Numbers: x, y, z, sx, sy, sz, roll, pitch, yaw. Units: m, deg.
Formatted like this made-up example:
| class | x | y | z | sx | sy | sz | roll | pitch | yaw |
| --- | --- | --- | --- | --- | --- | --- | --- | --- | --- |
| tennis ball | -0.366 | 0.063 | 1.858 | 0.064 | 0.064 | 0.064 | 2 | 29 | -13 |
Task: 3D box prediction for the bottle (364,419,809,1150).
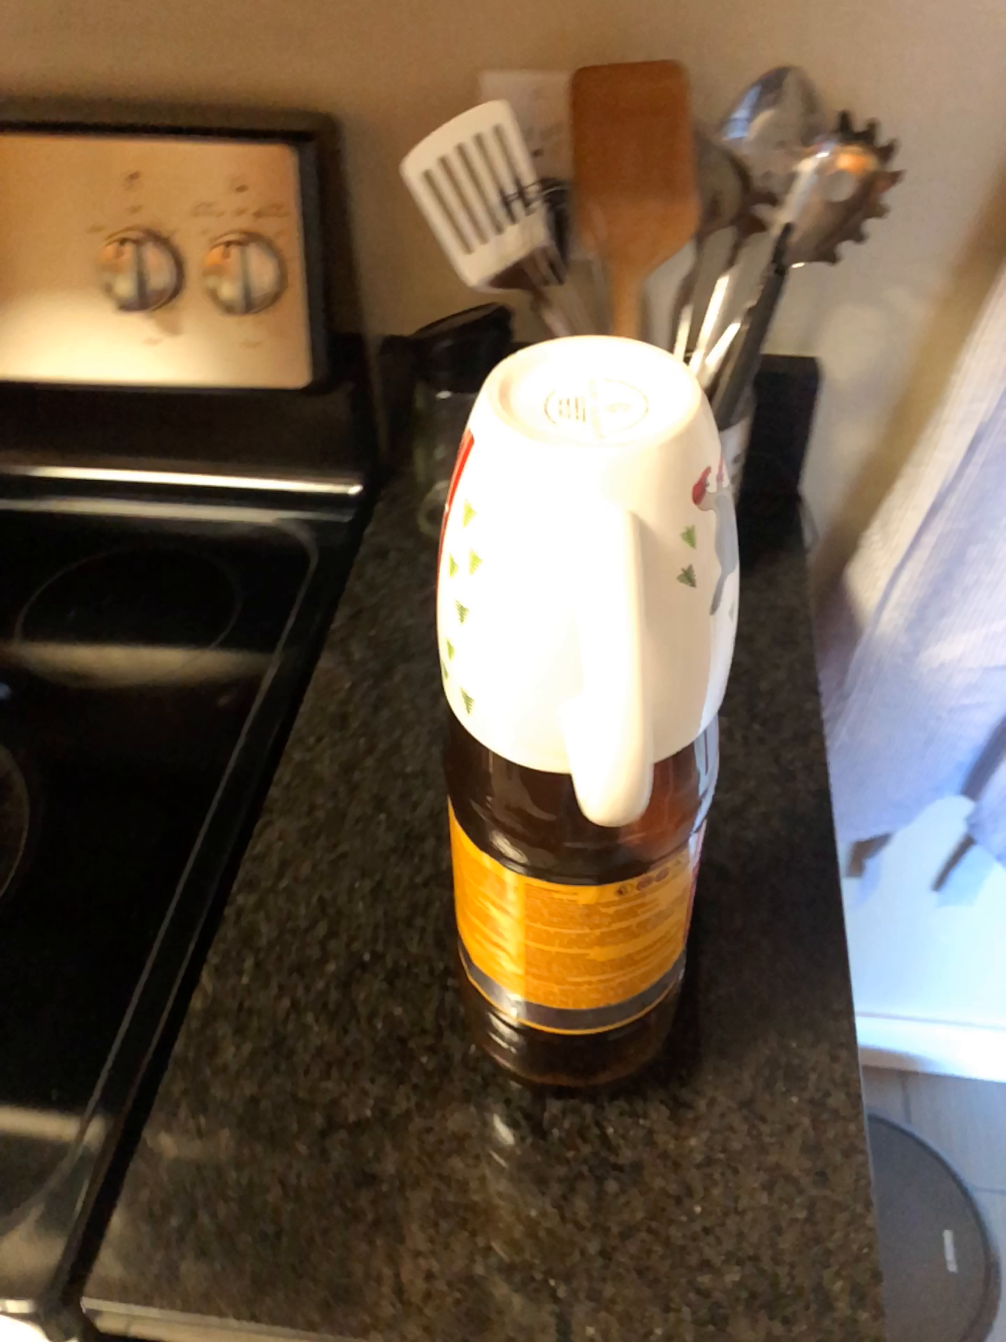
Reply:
| class | x | y | z | sx | sy | sz | roll | pitch | yaw |
| --- | --- | --- | --- | --- | --- | --- | --- | --- | --- |
| bottle | 0.029 | 0.059 | 0.447 | 0.100 | 0.279 | 0.100 | -1 | 43 | 1 |
